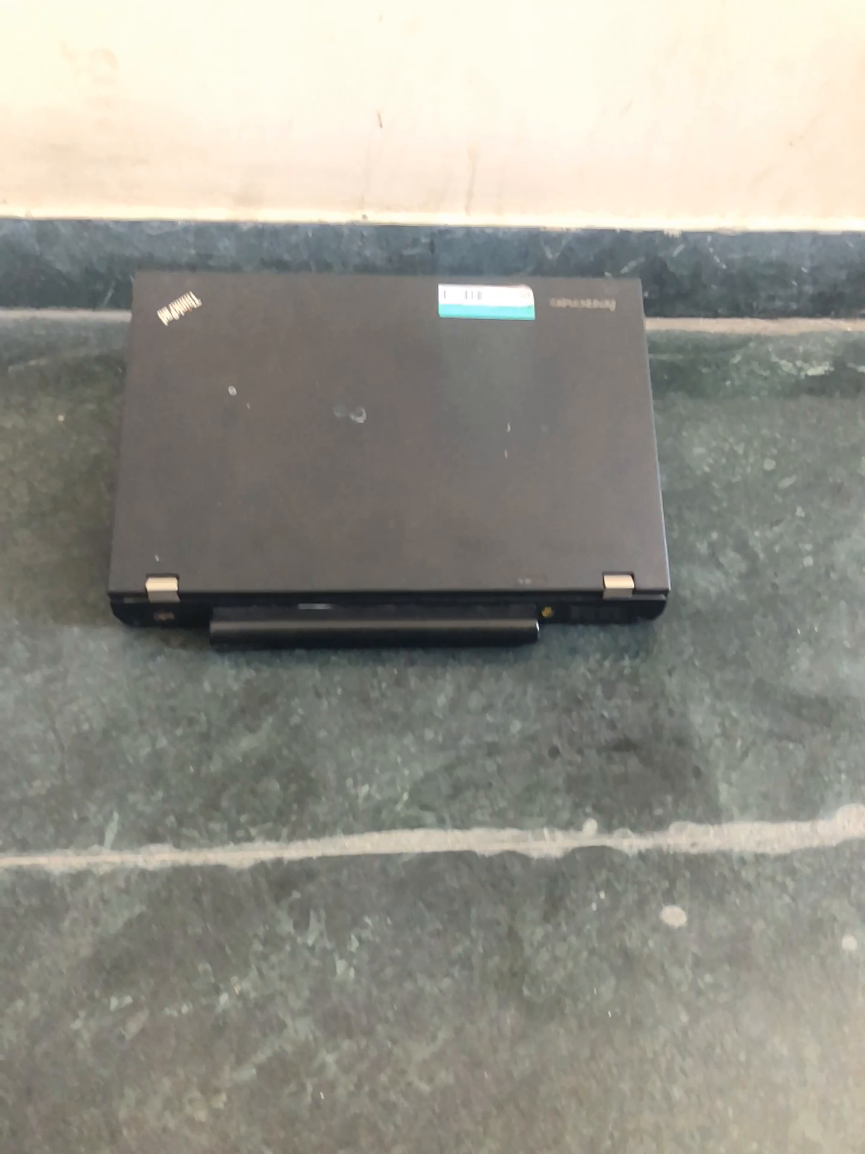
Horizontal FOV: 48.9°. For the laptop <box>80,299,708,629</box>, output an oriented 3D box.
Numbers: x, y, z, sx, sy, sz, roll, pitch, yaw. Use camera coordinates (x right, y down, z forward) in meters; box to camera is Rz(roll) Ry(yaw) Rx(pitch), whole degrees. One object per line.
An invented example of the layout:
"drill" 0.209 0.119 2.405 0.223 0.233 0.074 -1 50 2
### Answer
"laptop" -0.023 -0.082 0.644 0.349 0.094 0.228 1 44 -5
